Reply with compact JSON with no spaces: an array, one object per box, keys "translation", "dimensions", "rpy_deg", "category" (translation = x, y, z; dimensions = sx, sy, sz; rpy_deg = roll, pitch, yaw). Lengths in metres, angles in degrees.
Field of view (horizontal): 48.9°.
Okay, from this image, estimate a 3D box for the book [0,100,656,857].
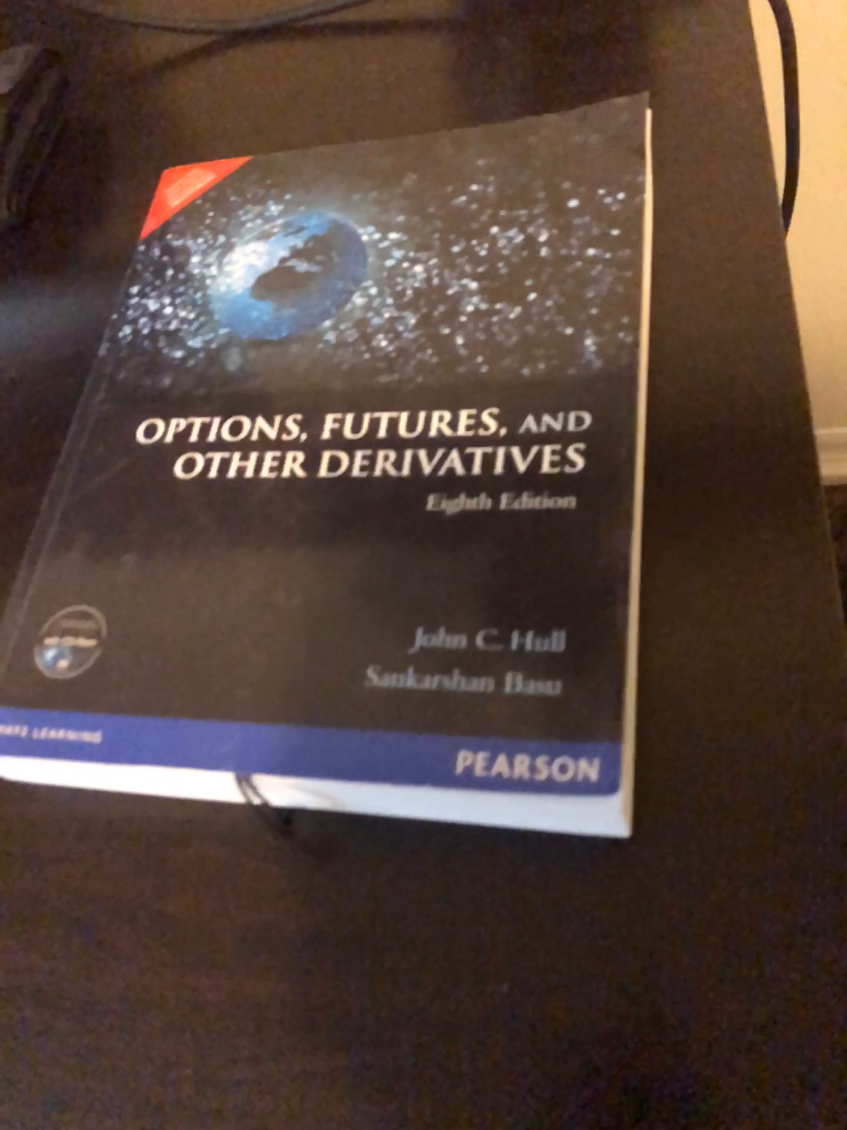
[{"translation":[-0.027,-0.045,0.333],"dimensions":[0.208,0.050,0.261],"rpy_deg":[1,63,15],"category":"book"}]
